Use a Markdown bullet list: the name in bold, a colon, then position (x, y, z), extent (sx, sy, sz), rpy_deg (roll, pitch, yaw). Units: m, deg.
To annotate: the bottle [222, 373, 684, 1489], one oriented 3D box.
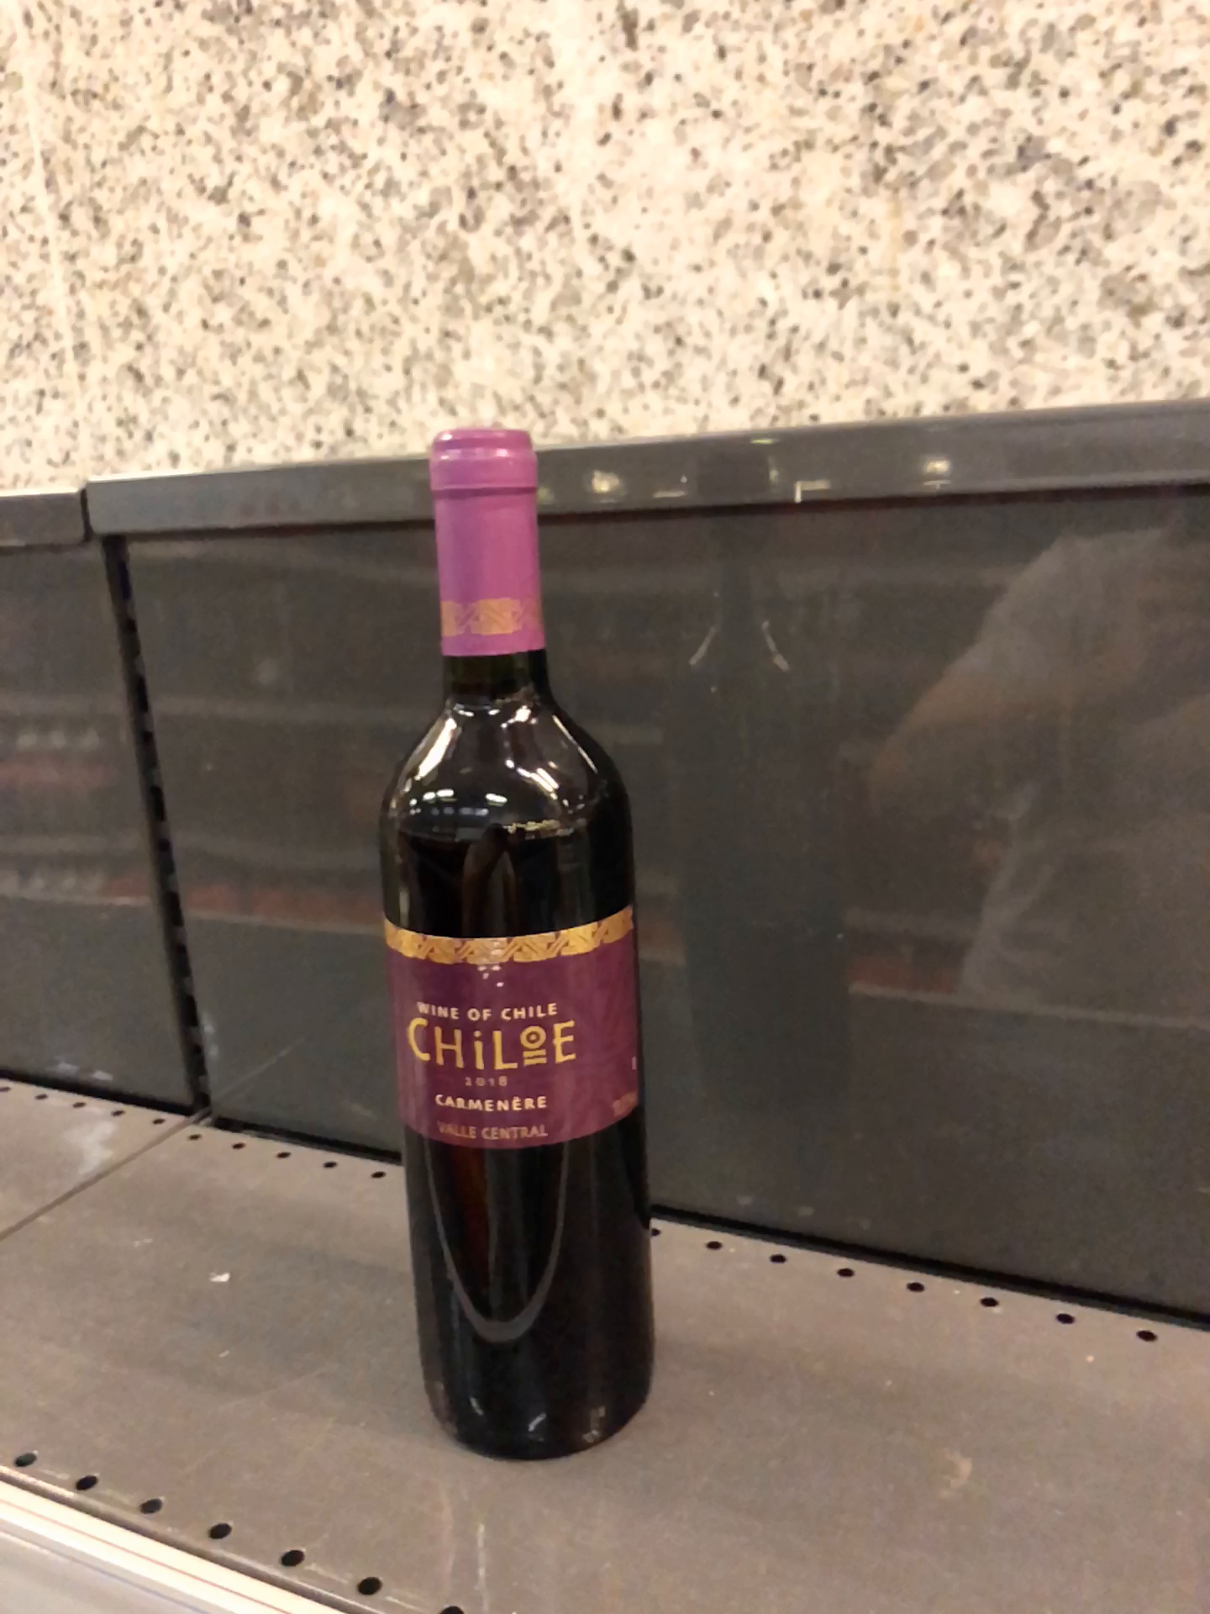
- **bottle**: position (-0.035, 0.039, 0.410), extent (0.090, 0.318, 0.080), rpy_deg (-1, 15, 12)
